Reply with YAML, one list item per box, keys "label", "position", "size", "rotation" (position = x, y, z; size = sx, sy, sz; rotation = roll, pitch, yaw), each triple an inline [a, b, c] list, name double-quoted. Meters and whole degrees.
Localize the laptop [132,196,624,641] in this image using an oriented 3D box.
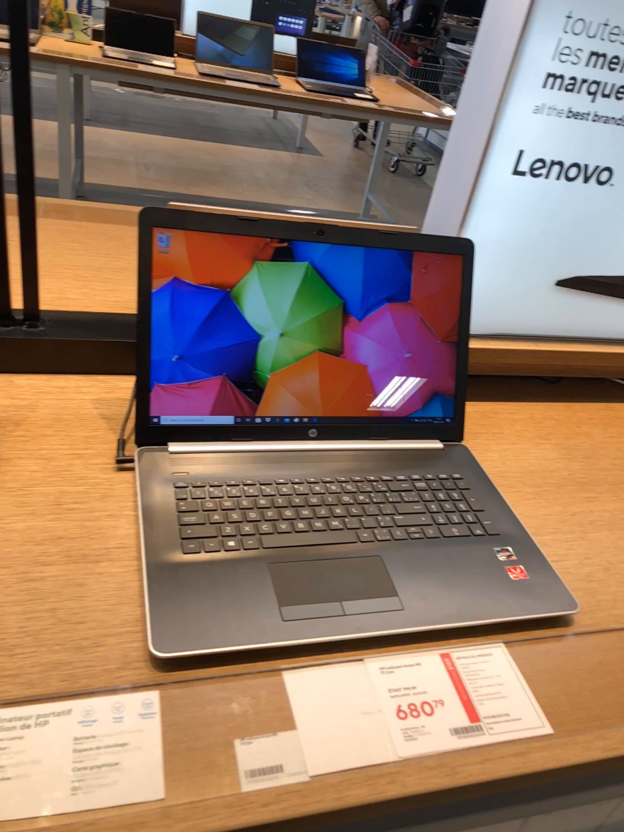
- label: "laptop"
  position: [0.029, -0.027, 0.715]
  size: [0.399, 0.217, 0.399]
  rotation: [0, 37, -18]
